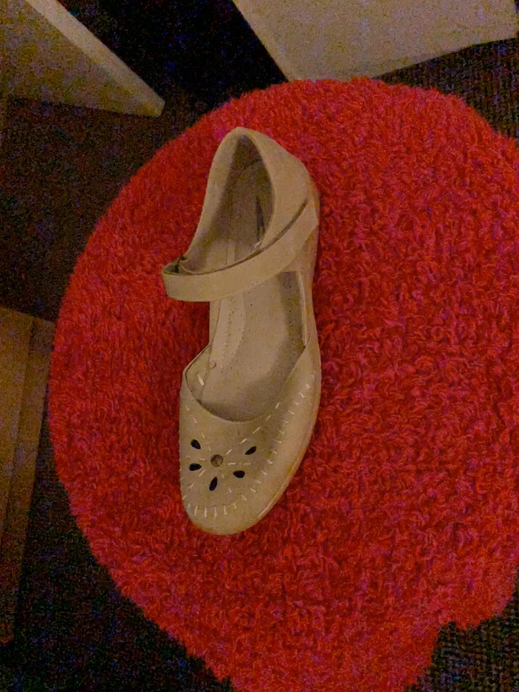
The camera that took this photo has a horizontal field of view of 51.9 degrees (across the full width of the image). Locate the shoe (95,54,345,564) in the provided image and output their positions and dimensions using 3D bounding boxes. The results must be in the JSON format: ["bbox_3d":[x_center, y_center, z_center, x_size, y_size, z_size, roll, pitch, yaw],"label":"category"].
[{"bbox_3d":[-0.018,-0.028,0.365,0.096,0.079,0.306,2,78,30],"label":"shoe"}]
